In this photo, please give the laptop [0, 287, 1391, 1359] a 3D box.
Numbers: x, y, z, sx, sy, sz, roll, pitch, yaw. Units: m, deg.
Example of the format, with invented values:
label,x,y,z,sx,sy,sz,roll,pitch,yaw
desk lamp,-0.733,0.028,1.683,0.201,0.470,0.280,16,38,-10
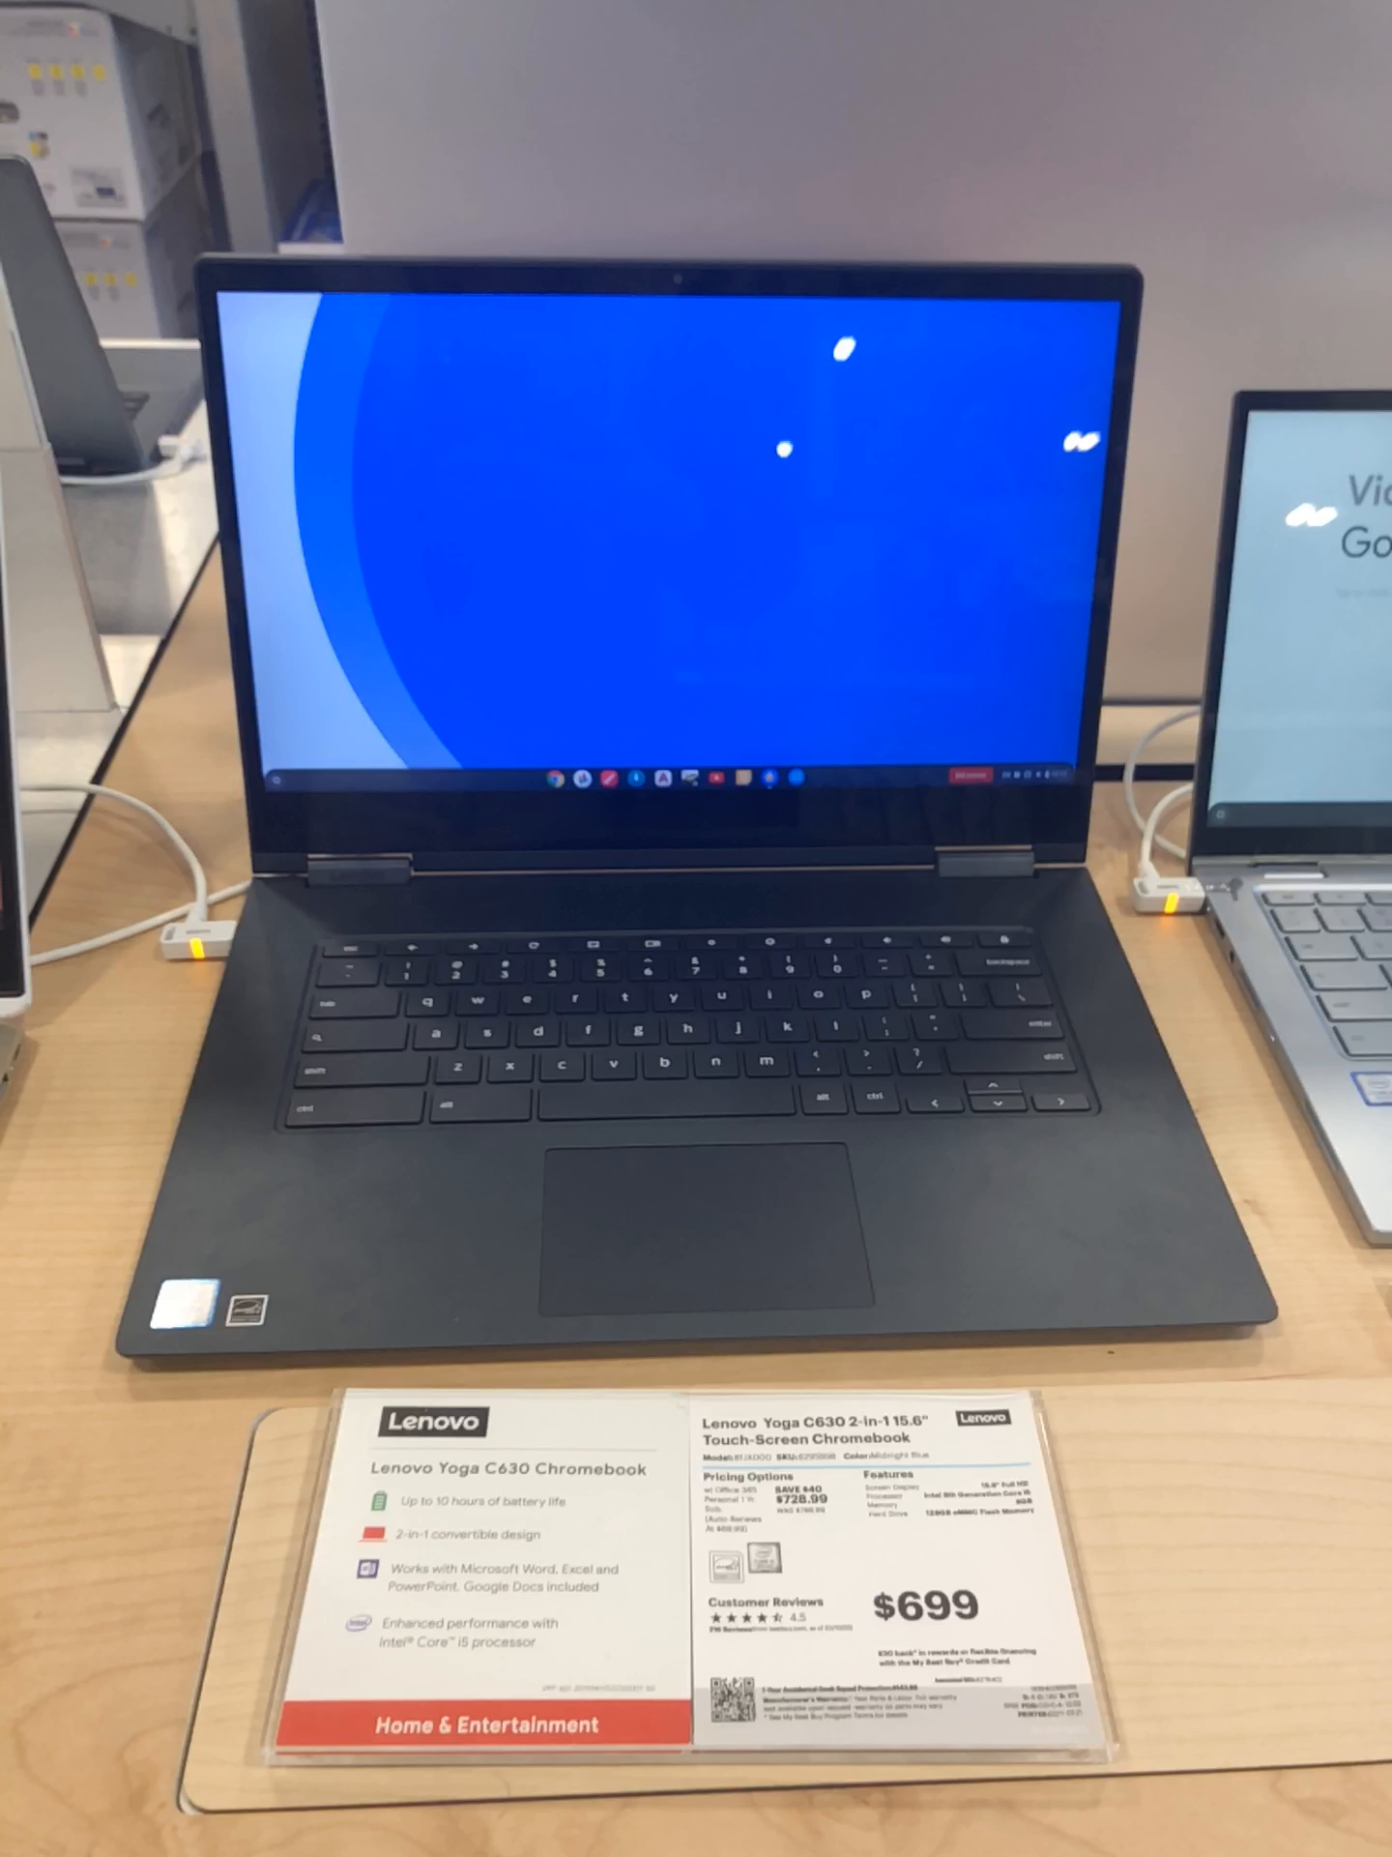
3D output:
label,x,y,z,sx,sy,sz,roll,pitch,yaw
laptop,0.006,-0.055,0.513,0.343,0.230,0.293,-1,36,-2
